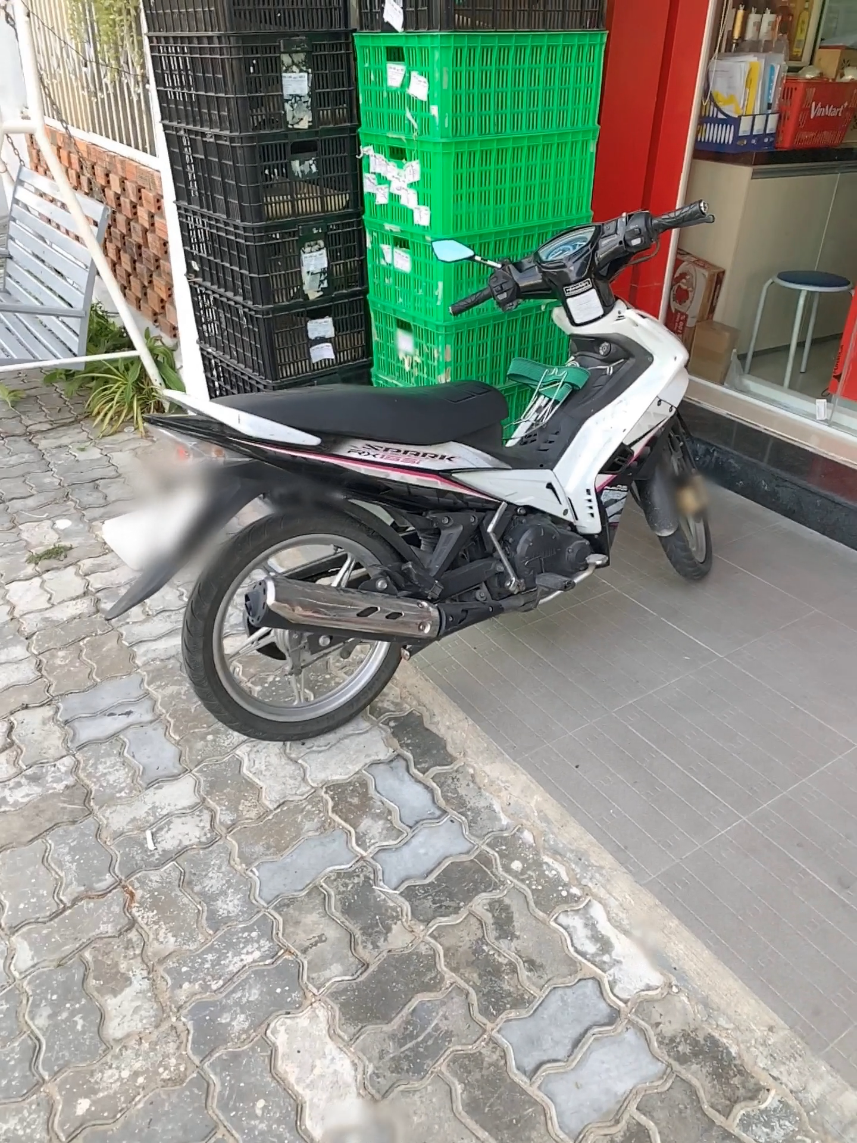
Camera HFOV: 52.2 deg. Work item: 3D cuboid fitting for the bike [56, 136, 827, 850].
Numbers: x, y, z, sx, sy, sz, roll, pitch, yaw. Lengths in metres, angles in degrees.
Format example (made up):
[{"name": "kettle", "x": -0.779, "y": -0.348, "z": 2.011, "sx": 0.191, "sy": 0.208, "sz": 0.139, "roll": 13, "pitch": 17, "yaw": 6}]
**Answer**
[{"name": "bike", "x": 0.133, "y": -0.380, "z": 2.310, "sx": 1.817, "sy": 1.186, "sz": 0.669, "roll": -24, "pitch": 39, "yaw": -33}]
